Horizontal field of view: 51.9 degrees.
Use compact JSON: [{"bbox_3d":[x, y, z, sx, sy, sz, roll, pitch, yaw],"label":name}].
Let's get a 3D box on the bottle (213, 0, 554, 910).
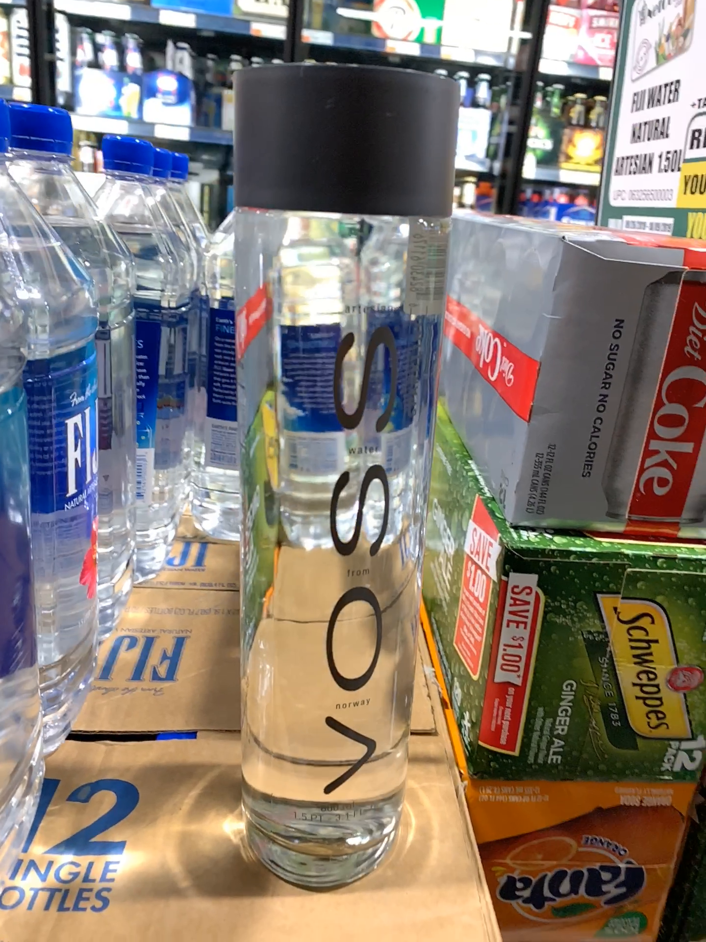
[{"bbox_3d":[-0.006,0.013,0.260,0.080,0.289,0.080,4,20,-2],"label":"bottle"}]
